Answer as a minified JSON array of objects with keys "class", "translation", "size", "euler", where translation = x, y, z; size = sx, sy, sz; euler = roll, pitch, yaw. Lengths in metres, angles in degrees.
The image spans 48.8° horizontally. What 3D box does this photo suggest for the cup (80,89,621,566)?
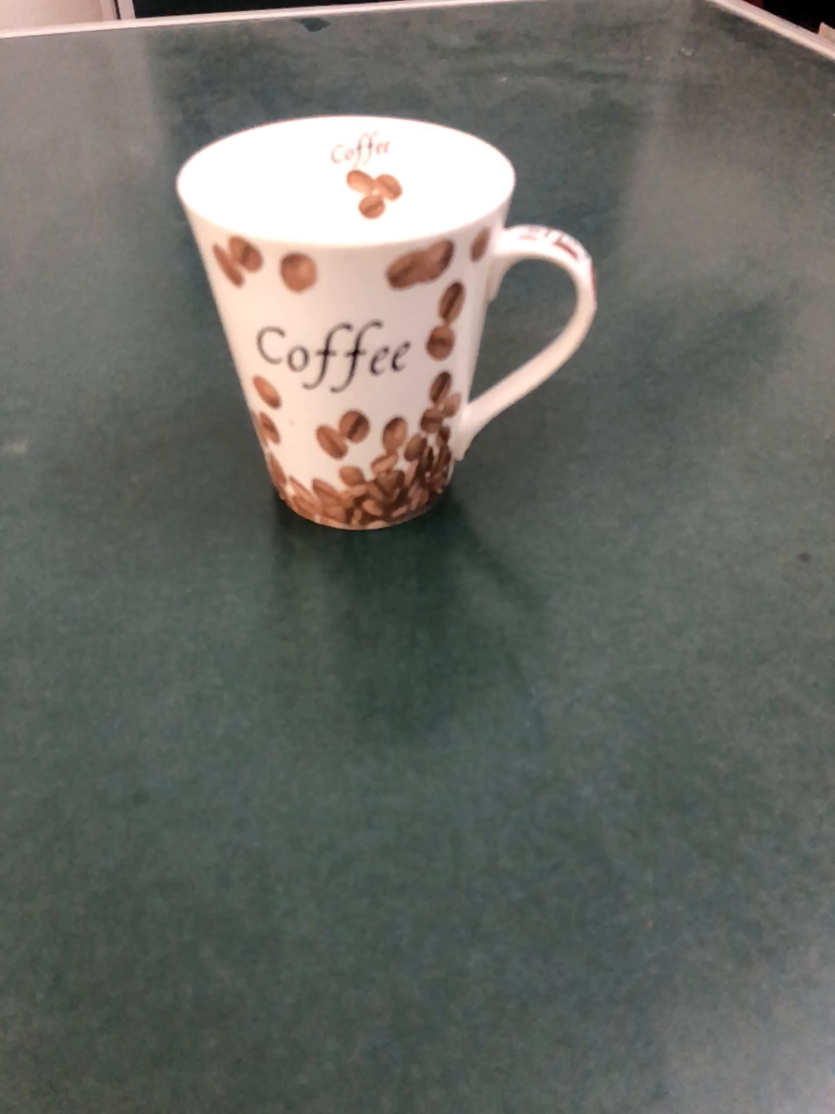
[{"class":"cup","translation":[-0.009,-0.071,0.270],"size":[0.120,0.090,0.100],"euler":[7,43,9]}]
